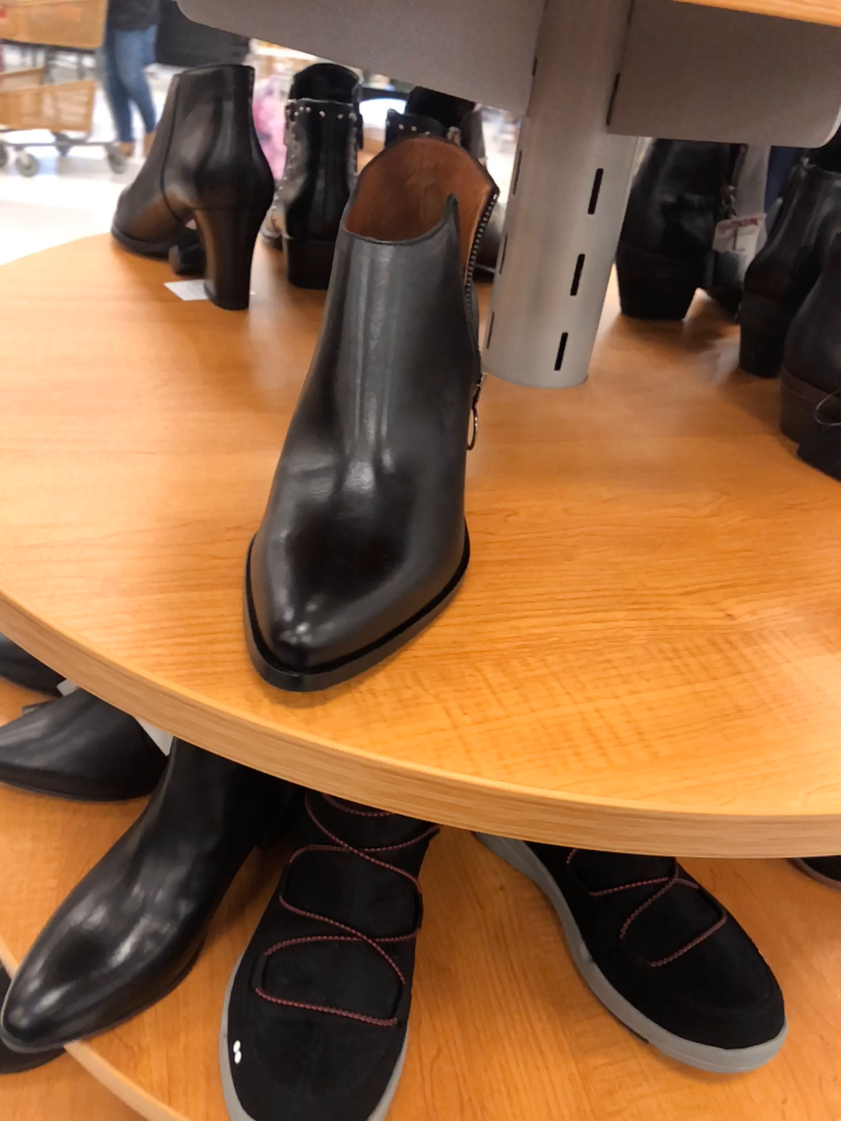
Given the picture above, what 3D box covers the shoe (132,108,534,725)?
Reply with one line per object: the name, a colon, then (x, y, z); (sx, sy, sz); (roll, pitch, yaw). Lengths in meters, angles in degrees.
shoe: (-0.020, -0.084, 0.398); (0.100, 0.156, 0.259); (10, 33, 3)
